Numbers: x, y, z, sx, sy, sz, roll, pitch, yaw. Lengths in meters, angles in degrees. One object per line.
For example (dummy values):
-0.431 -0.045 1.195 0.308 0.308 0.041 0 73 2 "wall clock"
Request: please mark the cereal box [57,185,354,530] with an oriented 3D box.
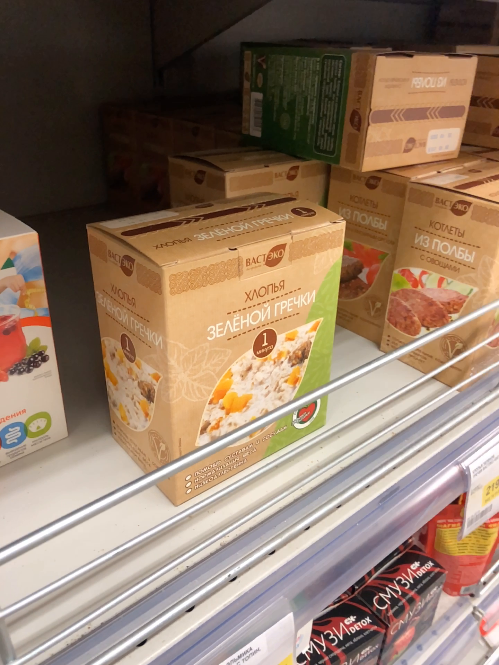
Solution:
-0.024 0.005 0.331 0.130 0.149 0.090 -20 35 -35 "cereal box"
